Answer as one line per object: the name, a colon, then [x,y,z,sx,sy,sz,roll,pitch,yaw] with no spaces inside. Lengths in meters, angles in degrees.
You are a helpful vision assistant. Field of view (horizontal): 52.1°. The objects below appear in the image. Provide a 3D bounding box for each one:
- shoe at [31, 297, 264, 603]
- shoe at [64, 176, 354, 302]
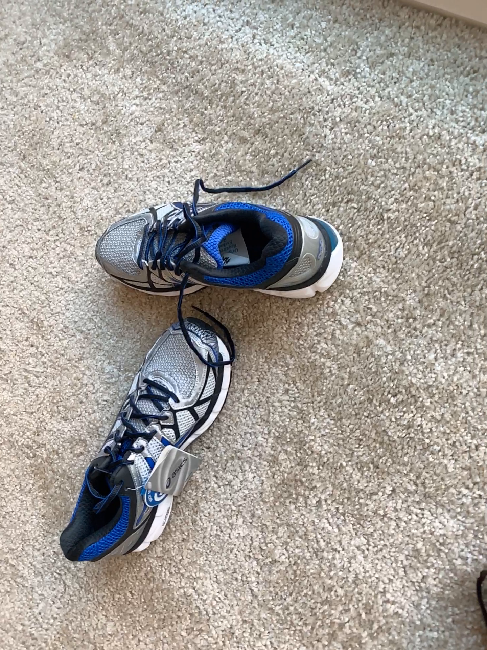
shoe: [-0.103,0.129,0.547,0.100,0.110,0.290,29,98,26]
shoe: [-0.045,-0.087,0.571,0.311,0.110,0.100,3,86,27]
